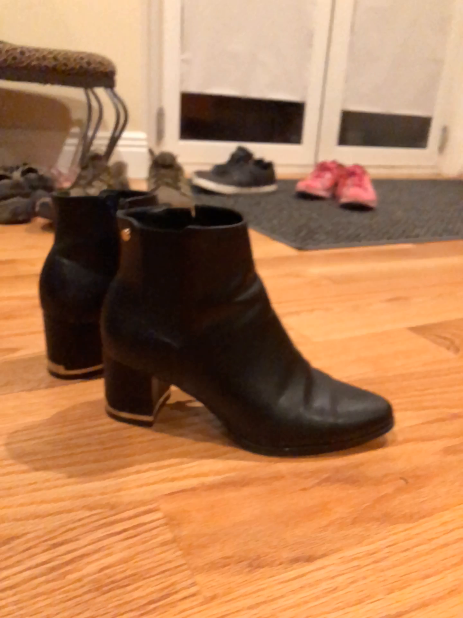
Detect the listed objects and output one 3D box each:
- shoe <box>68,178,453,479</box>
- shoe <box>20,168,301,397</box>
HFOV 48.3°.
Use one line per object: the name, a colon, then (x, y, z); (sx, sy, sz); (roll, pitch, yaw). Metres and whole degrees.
shoe: (0.014, 0.005, 0.388); (0.236, 0.175, 0.095); (7, 20, 8)
shoe: (-0.063, -0.041, 0.502); (0.237, 0.175, 0.095); (-9, 23, -32)
